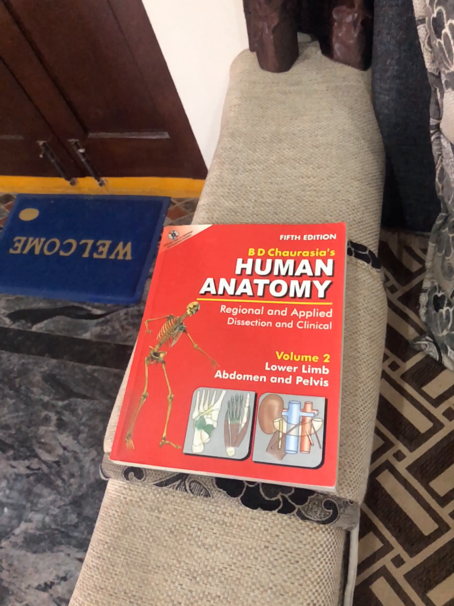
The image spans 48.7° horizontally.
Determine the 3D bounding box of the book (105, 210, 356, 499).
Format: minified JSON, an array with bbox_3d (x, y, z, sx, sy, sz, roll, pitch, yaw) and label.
[{"bbox_3d":[0.017,0.034,0.525,0.220,0.040,0.290,1,63,16],"label":"book"}]
